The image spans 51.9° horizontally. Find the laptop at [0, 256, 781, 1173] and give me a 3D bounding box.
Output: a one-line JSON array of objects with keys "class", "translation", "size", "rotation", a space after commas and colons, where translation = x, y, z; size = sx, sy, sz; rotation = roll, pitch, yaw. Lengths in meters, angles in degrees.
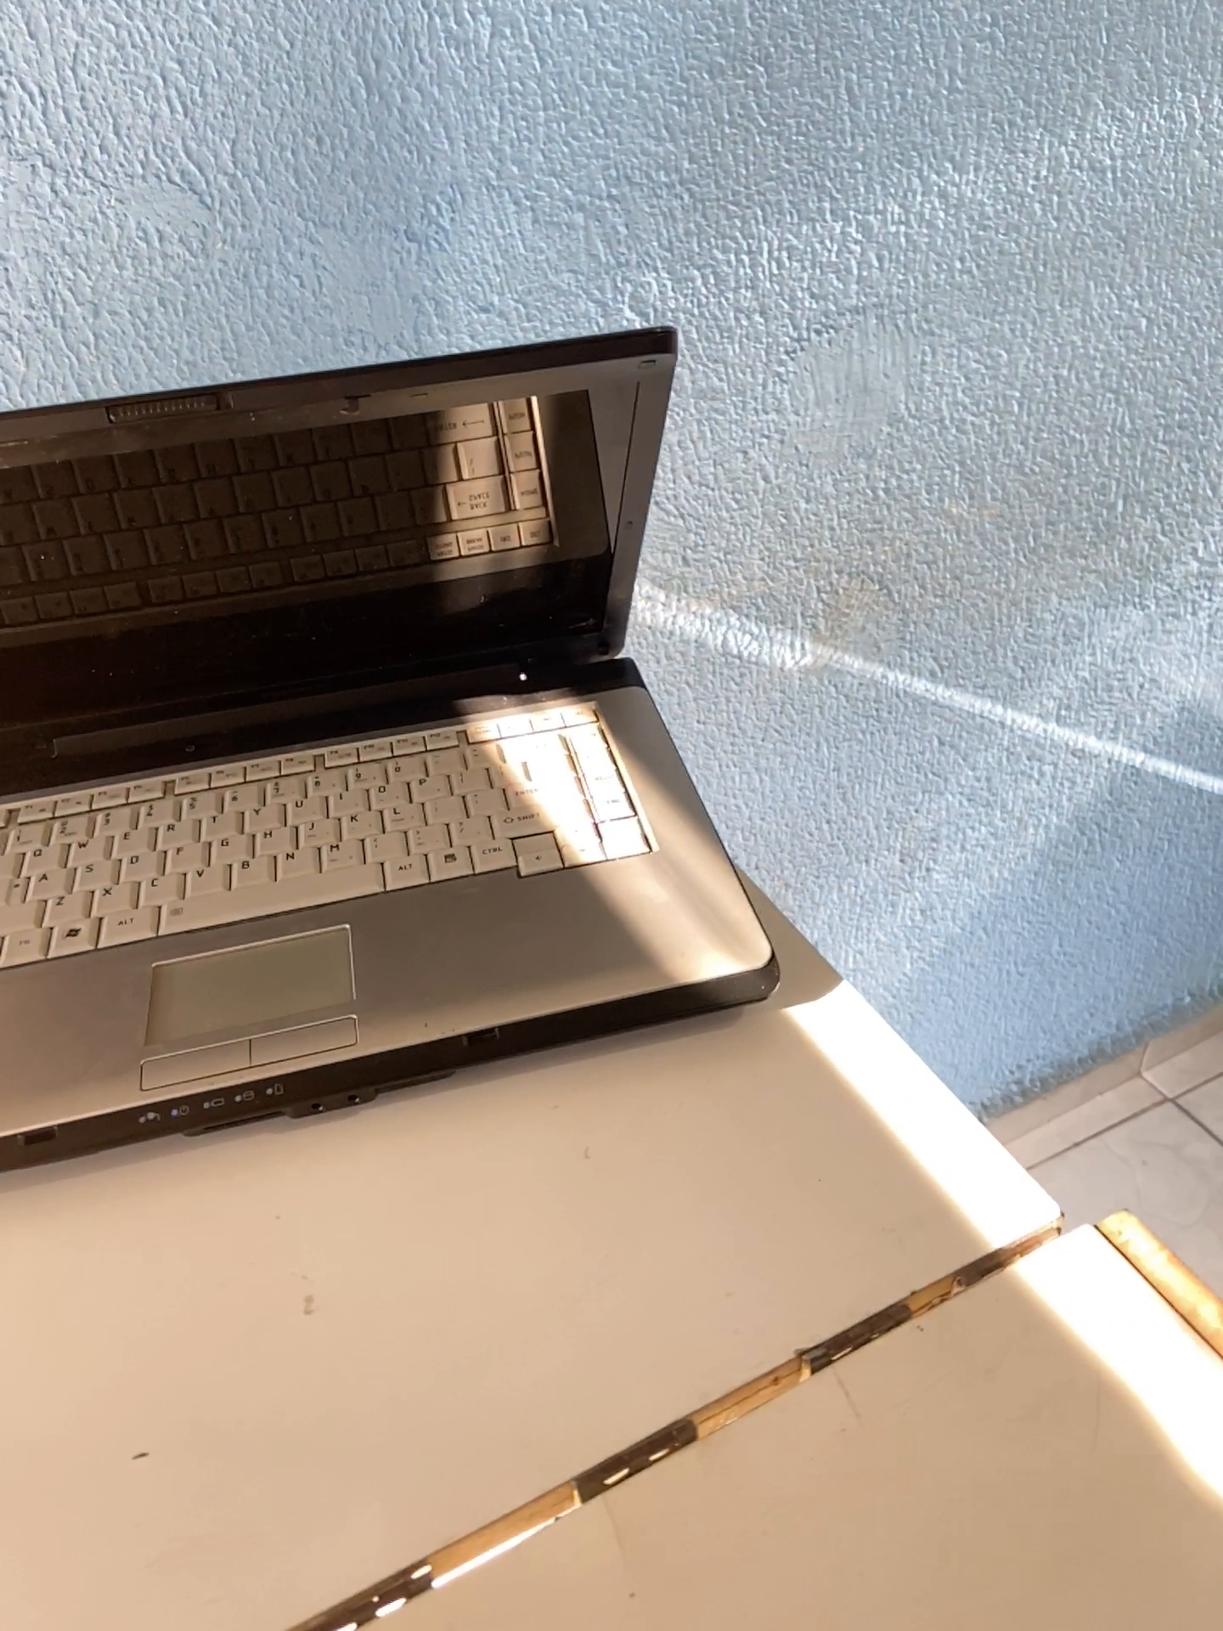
[{"class": "laptop", "translation": [-0.144, -0.062, 0.490], "size": [0.351, 0.202, 0.247], "rotation": [-10, 37, -8]}]
